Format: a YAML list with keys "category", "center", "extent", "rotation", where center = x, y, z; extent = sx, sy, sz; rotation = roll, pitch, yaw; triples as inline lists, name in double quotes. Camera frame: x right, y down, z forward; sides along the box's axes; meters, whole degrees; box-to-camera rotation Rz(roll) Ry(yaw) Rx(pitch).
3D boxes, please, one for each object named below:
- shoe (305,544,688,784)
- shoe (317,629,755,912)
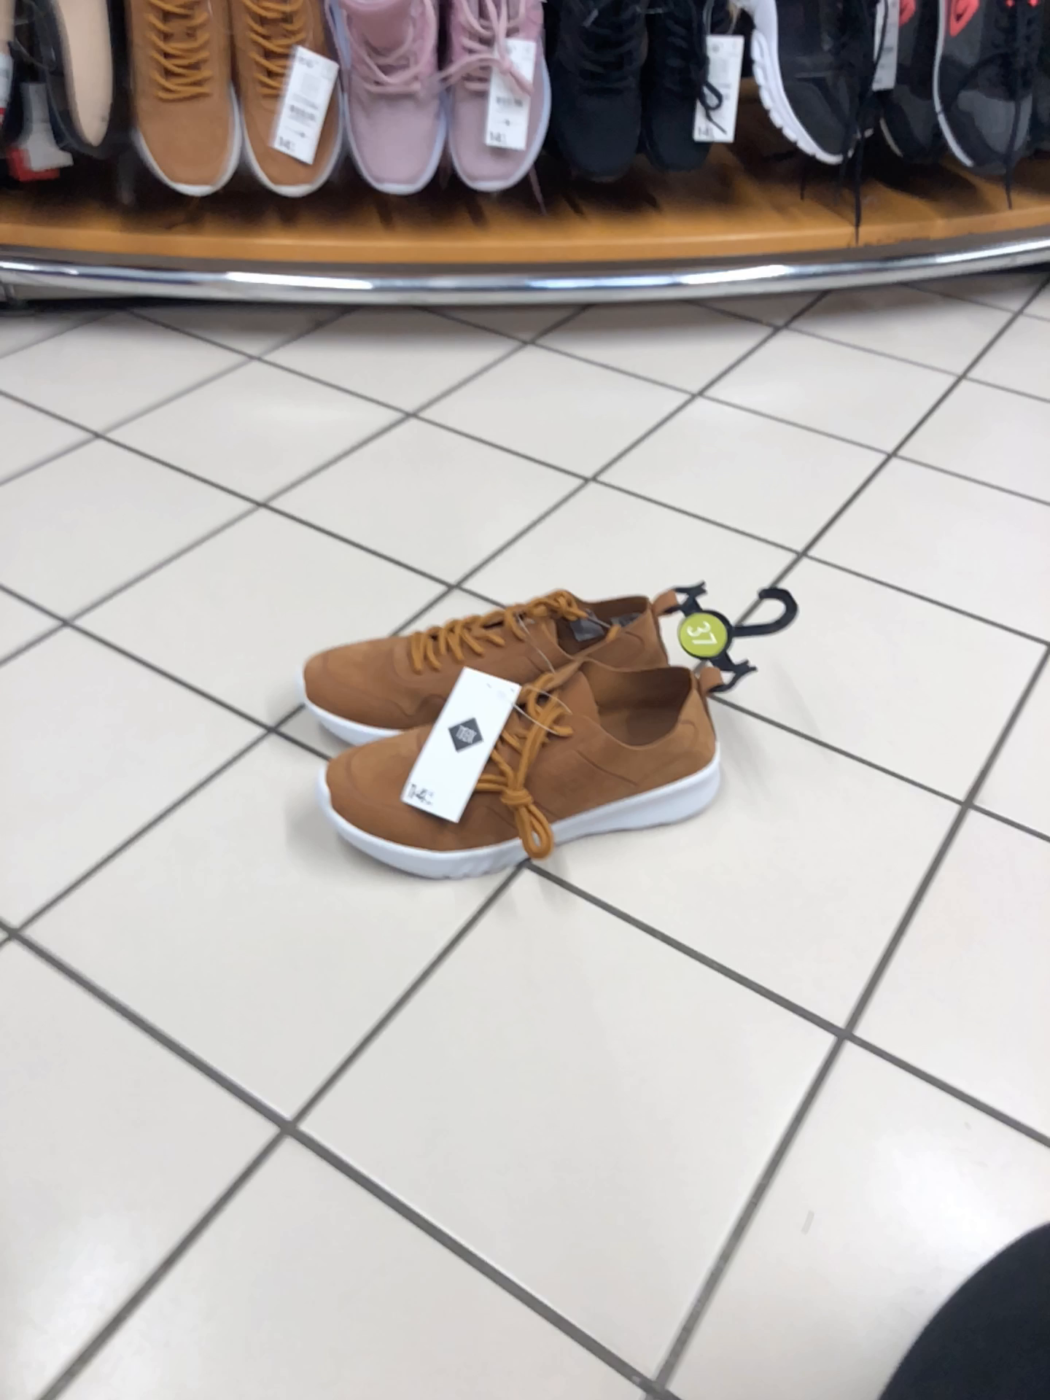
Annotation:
- category: "shoe"
  center: [-0.021, -0.025, 0.730]
  extent: [0.220, 0.099, 0.090]
  rotation: [-5, 41, -8]
- category: "shoe"
  center: [0.003, 0.039, 0.678]
  extent: [0.230, 0.099, 0.090]
  rotation: [-8, 42, -11]
